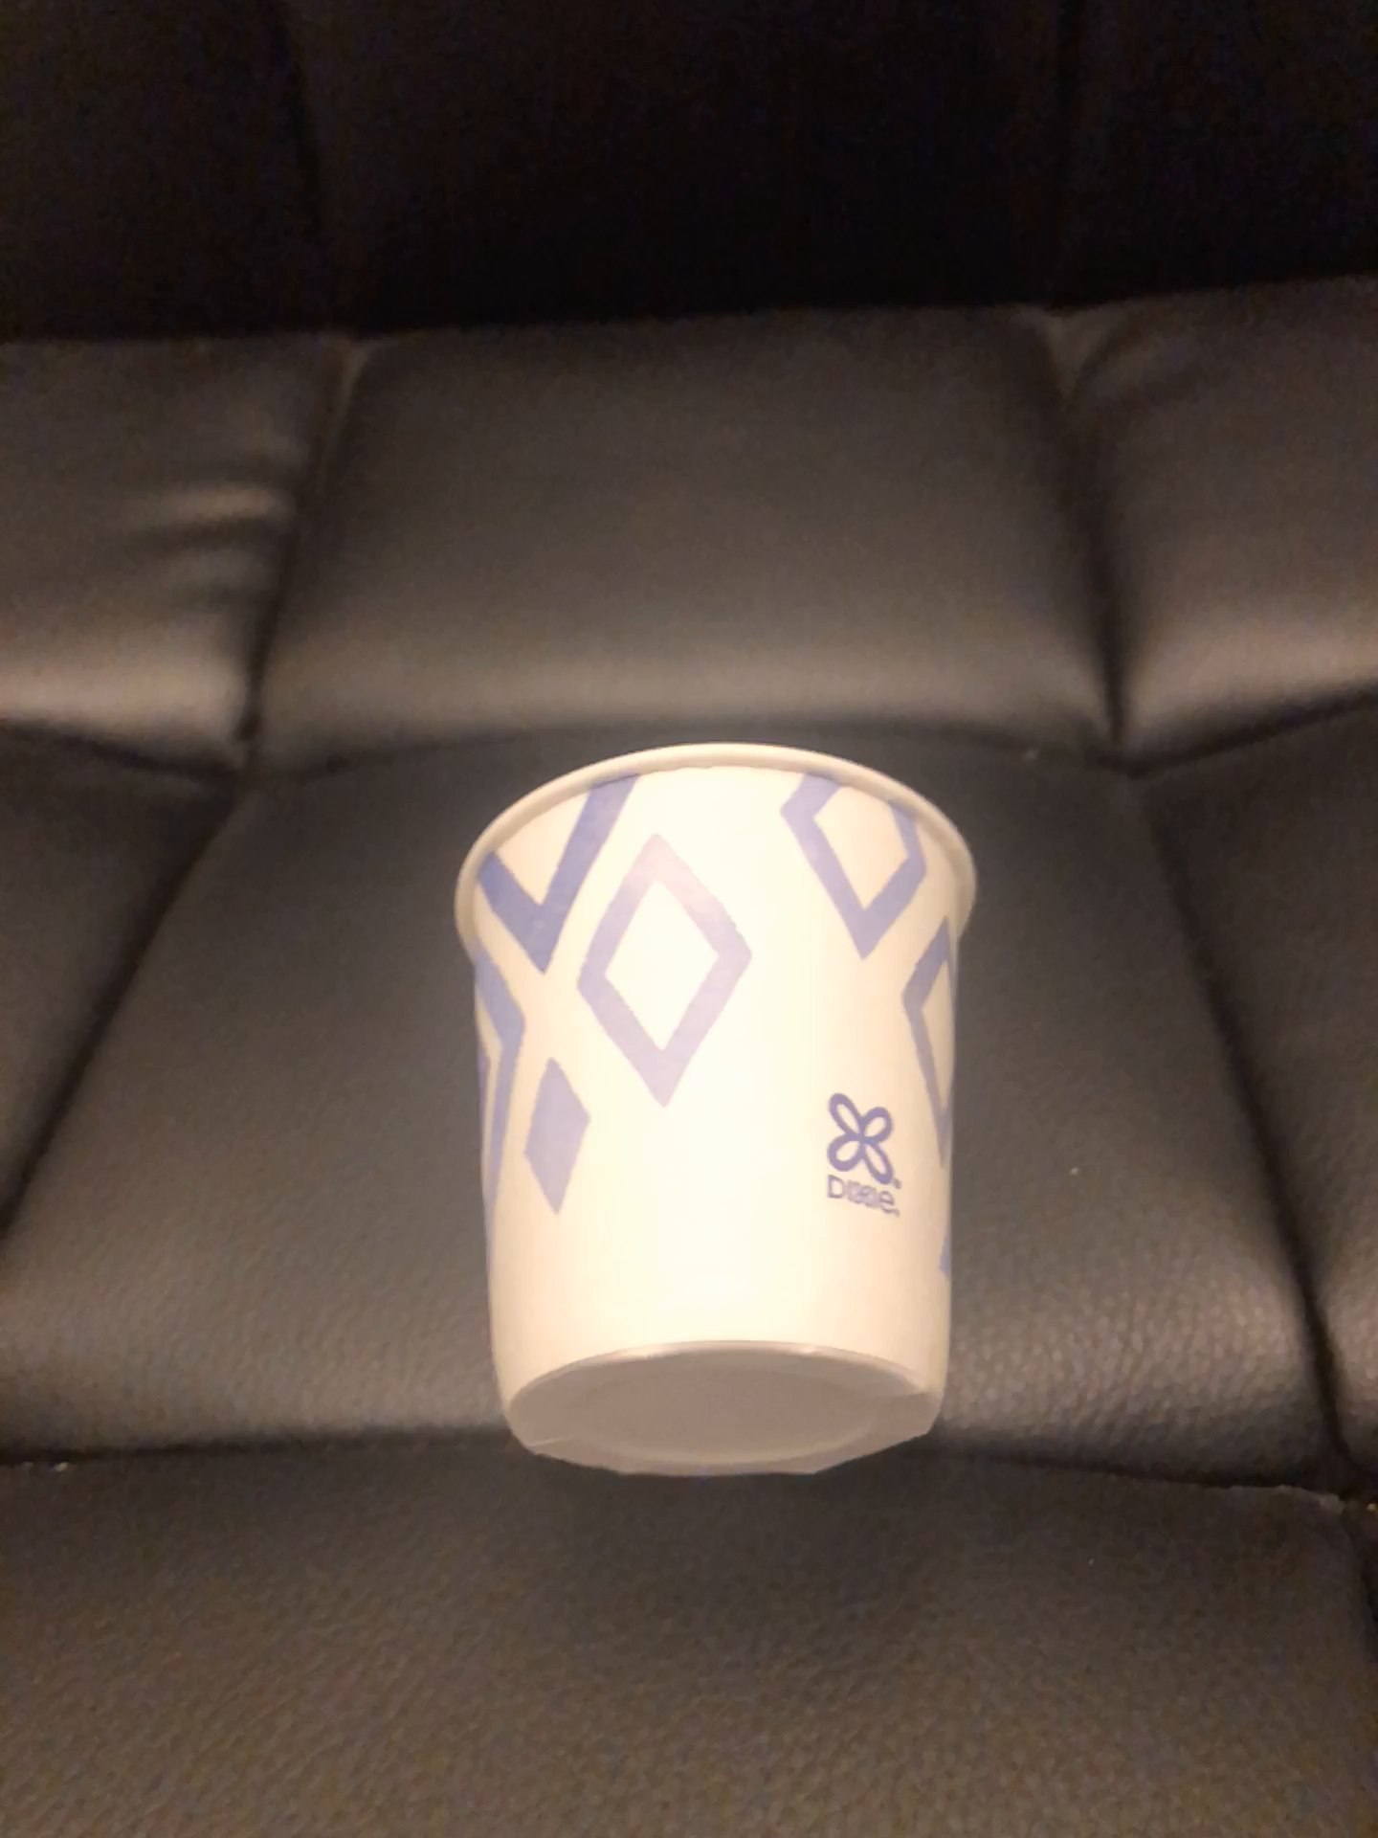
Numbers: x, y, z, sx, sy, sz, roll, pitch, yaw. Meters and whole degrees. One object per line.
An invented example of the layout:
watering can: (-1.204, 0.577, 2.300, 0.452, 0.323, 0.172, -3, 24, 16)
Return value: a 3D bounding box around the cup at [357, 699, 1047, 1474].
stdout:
cup: (0.003, 0.018, 0.155, 0.052, 0.049, 0.058, -3, 57, 5)
